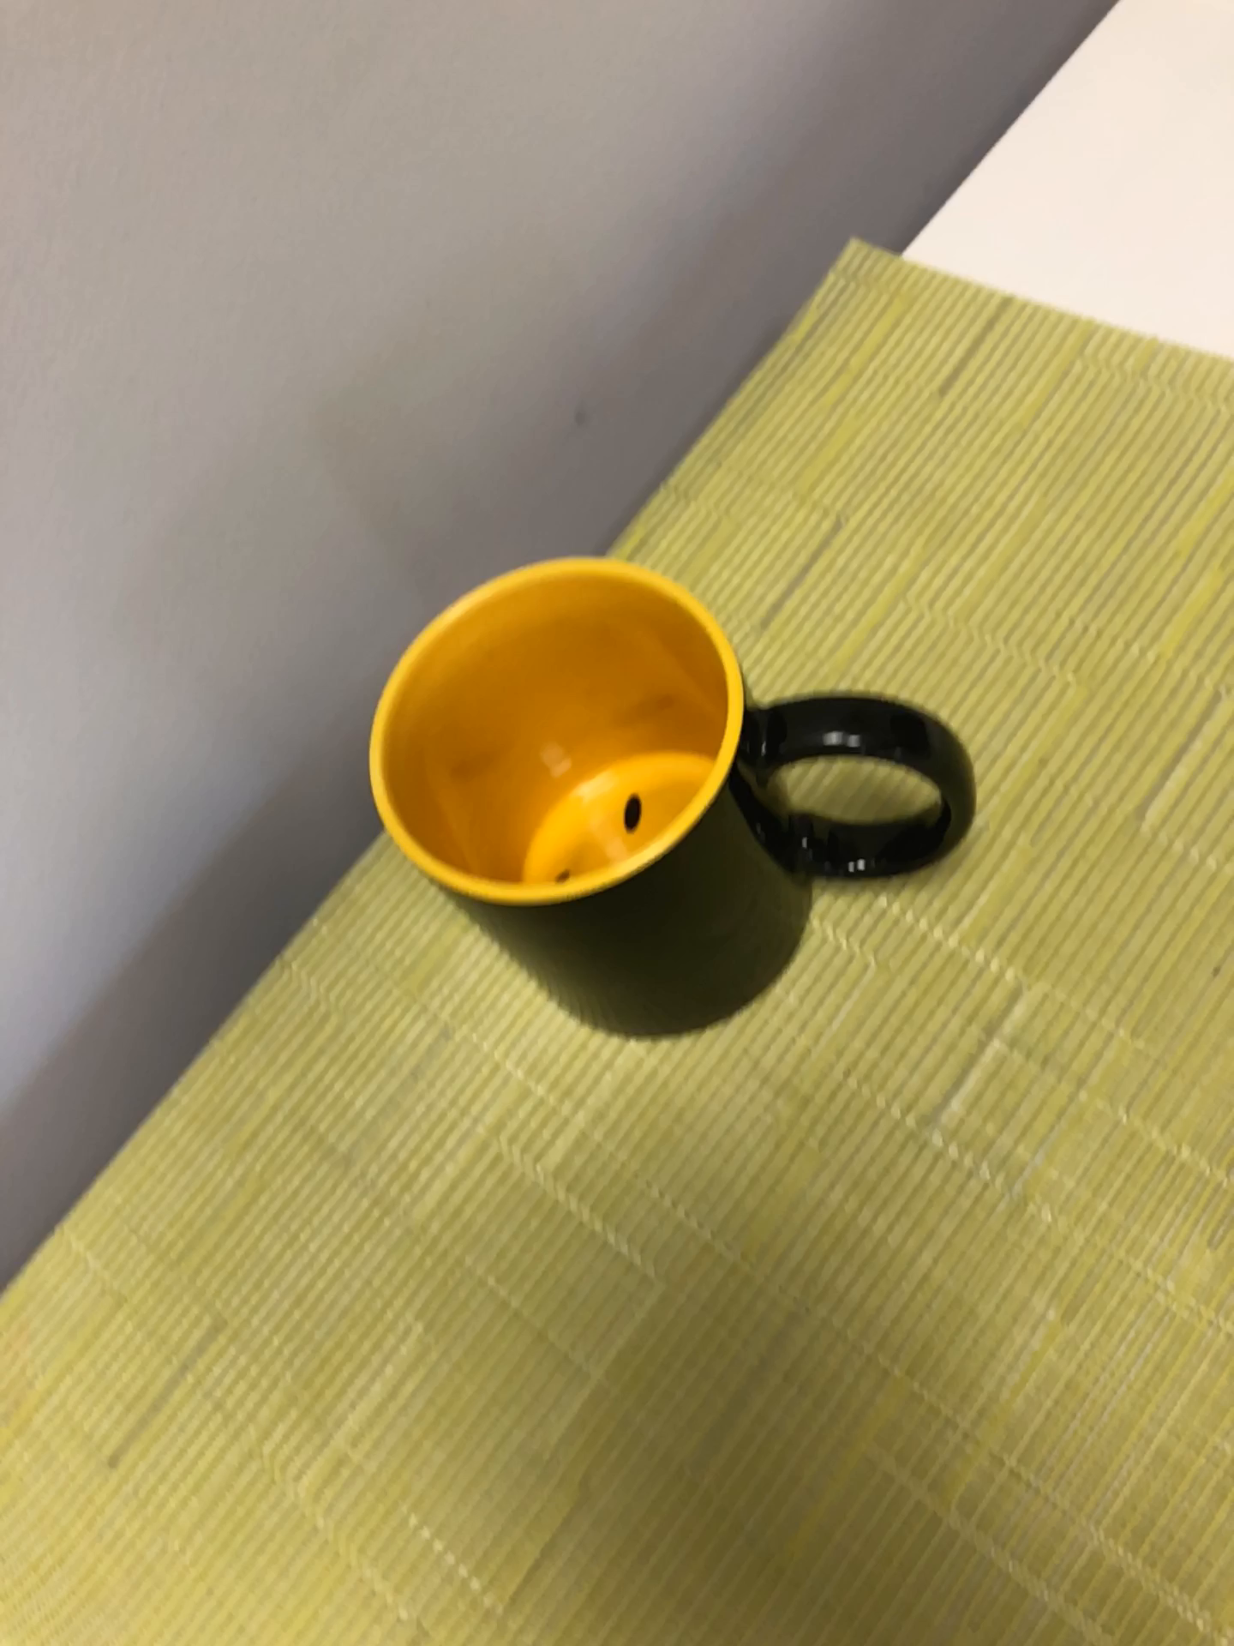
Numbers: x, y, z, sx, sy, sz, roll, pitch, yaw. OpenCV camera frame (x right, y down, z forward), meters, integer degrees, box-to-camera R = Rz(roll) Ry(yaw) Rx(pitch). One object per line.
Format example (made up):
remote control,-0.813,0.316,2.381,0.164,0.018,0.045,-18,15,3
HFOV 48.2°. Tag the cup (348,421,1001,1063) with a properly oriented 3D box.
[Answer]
cup,0.018,-0.010,0.316,0.119,0.104,0.088,-10,62,13
